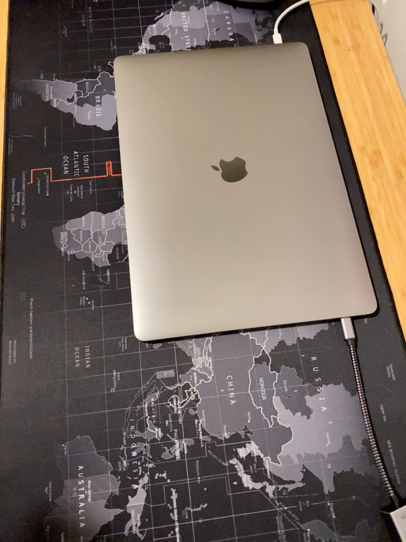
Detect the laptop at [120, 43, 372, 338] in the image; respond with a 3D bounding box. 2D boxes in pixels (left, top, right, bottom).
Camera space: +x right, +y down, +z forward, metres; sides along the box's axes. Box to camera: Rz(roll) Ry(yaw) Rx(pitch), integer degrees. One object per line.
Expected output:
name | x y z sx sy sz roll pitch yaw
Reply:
laptop | 0.031 -0.109 0.447 0.226 0.002 0.336 -6 70 -3
